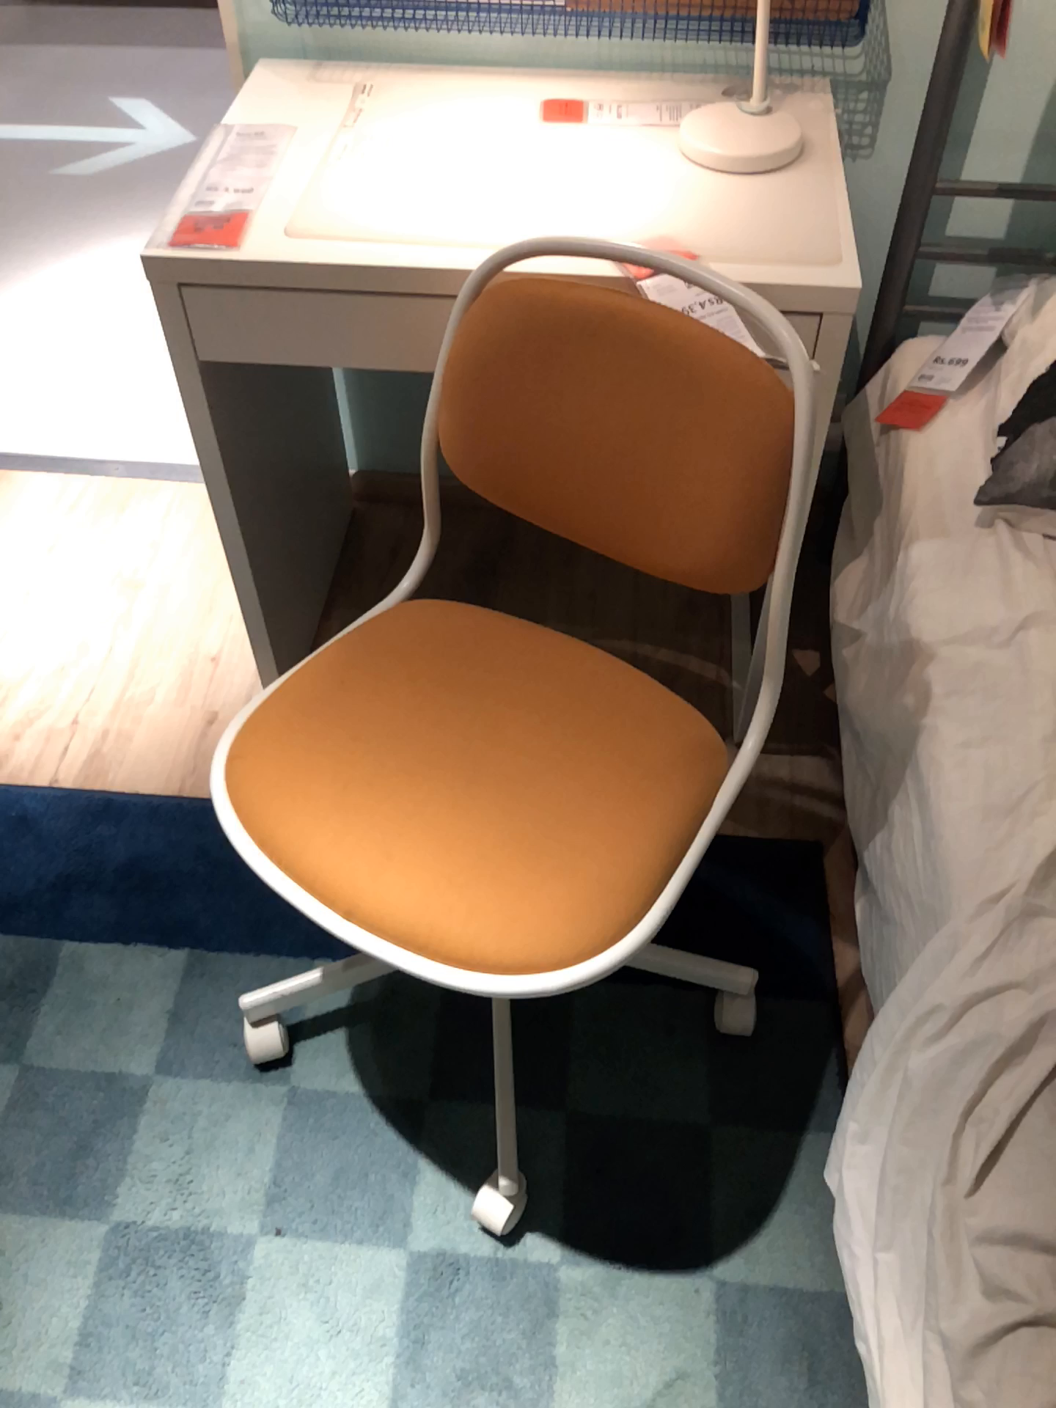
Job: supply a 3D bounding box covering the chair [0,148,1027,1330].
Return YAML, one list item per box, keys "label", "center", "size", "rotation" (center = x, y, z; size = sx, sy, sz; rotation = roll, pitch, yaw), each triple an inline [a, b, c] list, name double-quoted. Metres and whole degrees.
- label: "chair"
  center: [-0.040, 0.053, 1.102]
  size: [0.611, 0.795, 0.562]
  rotation: [25, 54, 21]
